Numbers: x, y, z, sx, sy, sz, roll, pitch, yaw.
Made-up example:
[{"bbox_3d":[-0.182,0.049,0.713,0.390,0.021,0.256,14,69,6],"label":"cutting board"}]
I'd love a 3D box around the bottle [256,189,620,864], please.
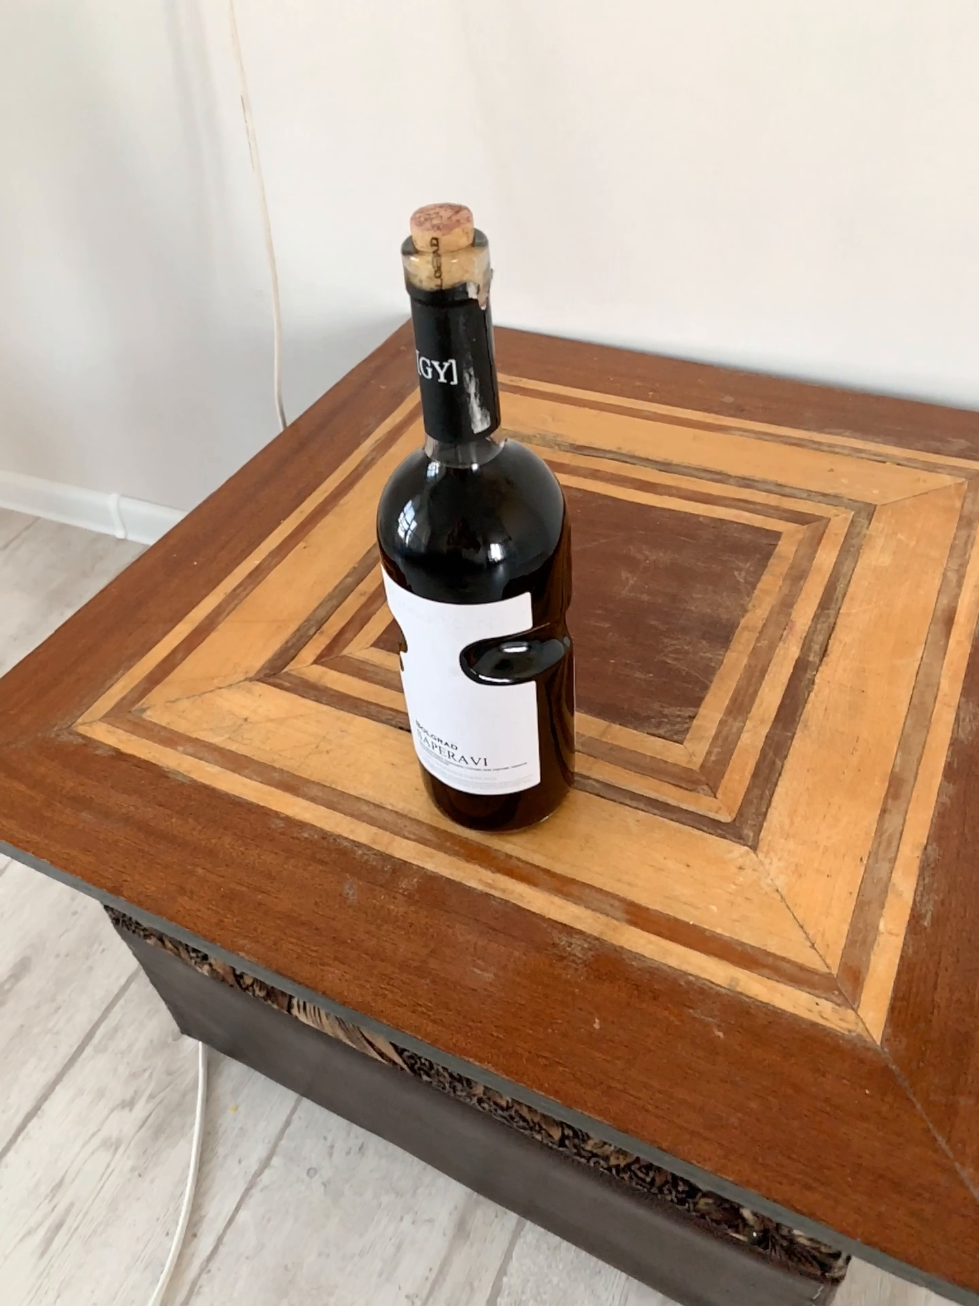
[{"bbox_3d":[-0.005,-0.039,0.430,0.090,0.269,0.090,-3,43,3],"label":"bottle"}]
